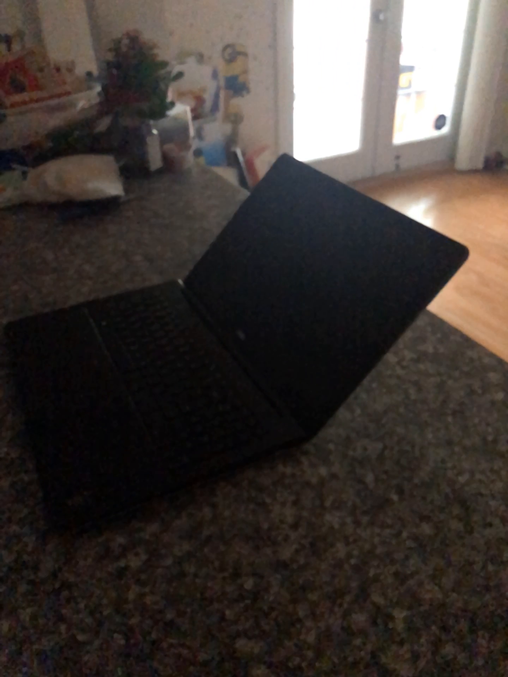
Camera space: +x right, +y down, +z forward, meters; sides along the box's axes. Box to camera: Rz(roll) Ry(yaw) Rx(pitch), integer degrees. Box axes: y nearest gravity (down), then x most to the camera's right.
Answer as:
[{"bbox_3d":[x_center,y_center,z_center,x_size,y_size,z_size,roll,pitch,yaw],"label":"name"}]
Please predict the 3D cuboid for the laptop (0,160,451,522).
[{"bbox_3d":[-0.071,-0.050,0.655,0.414,0.158,0.363,-17,37,-21],"label":"laptop"}]
